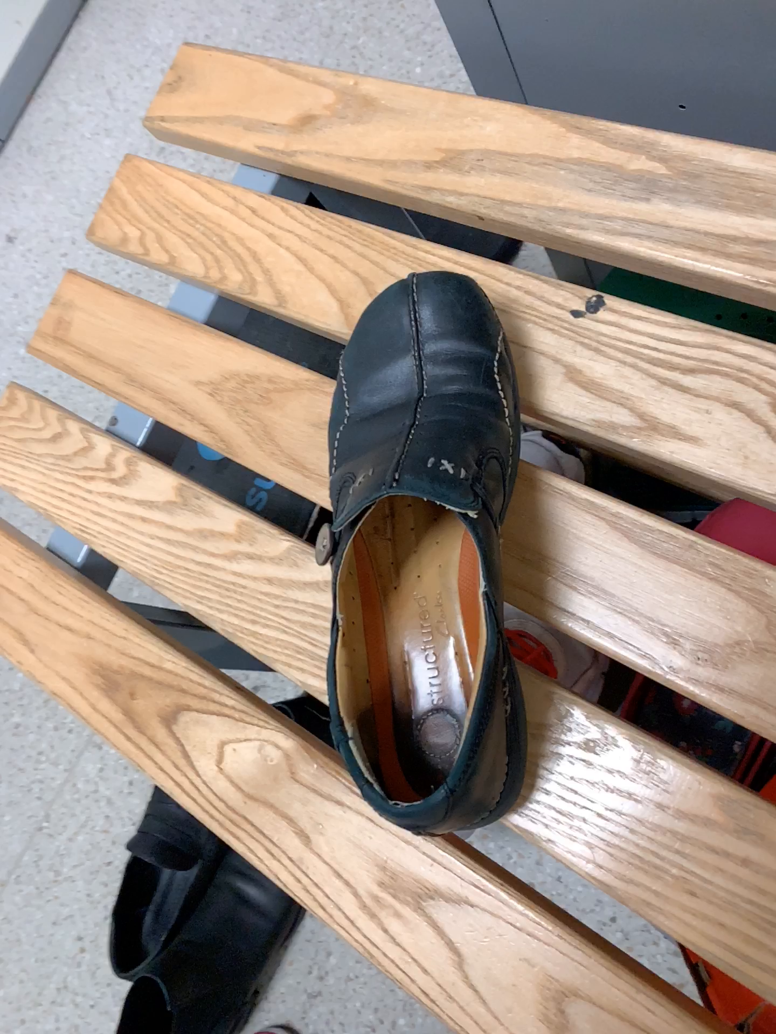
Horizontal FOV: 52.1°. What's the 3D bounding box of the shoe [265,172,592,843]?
[{"bbox_3d":[0.014,-0.003,0.358,0.104,0.075,0.268,-11,73,22],"label":"shoe"}]
